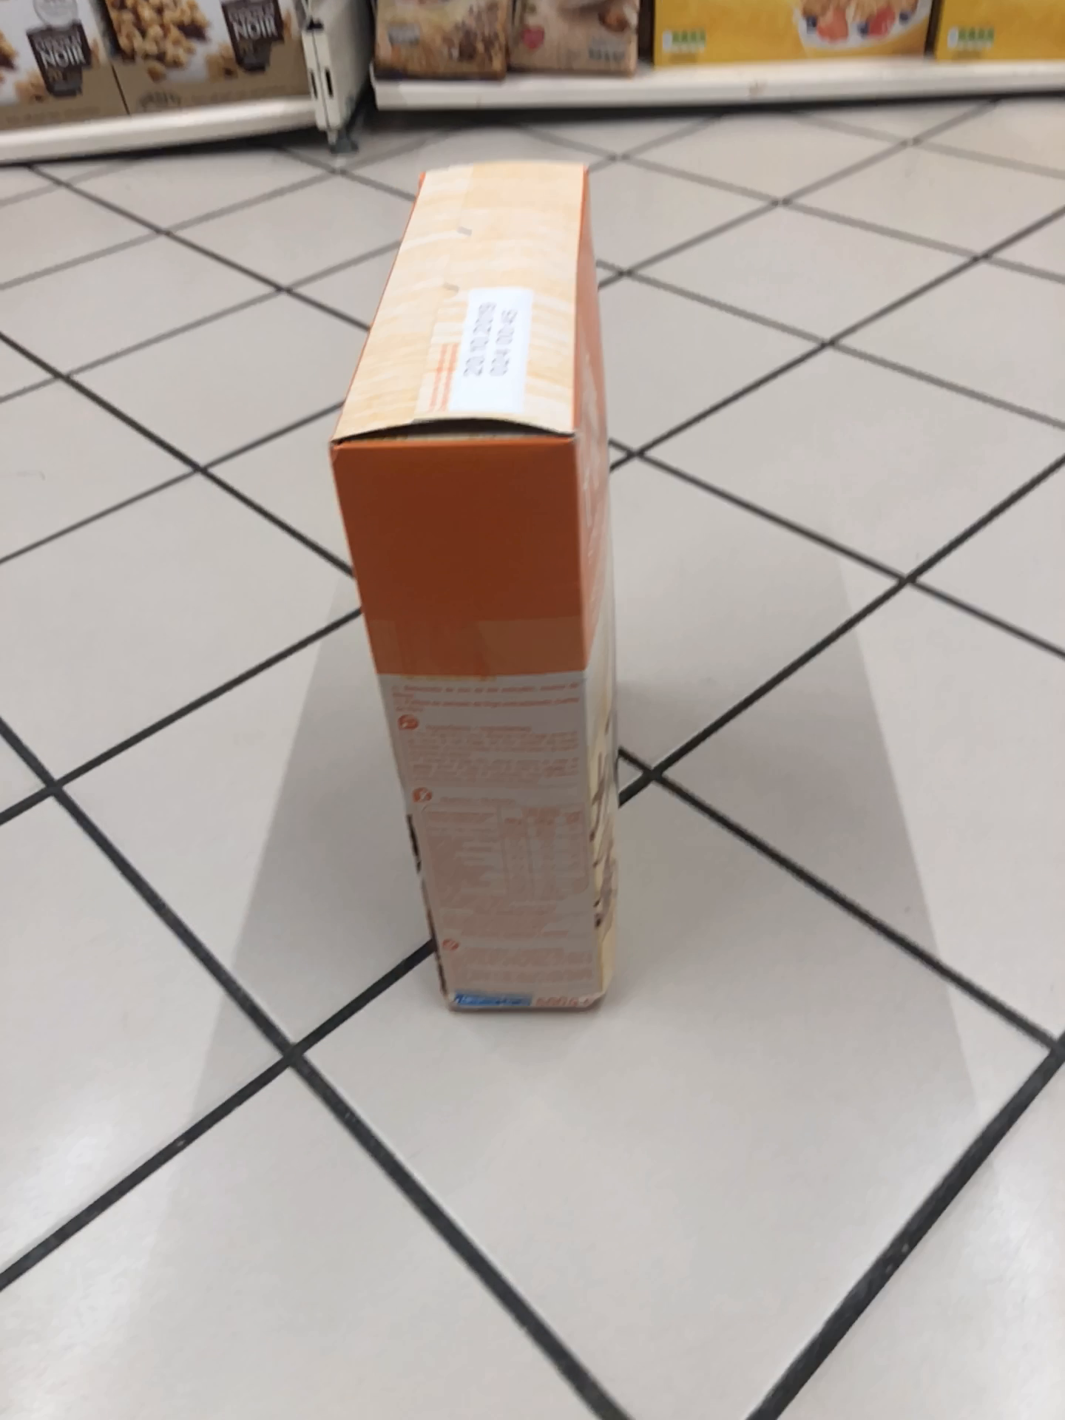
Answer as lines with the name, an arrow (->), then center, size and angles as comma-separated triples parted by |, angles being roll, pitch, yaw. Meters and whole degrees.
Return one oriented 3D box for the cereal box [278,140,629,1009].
cereal box -> -0.007, -0.046, 0.426 | 0.080, 0.238, 0.201 | -1, 42, 4
